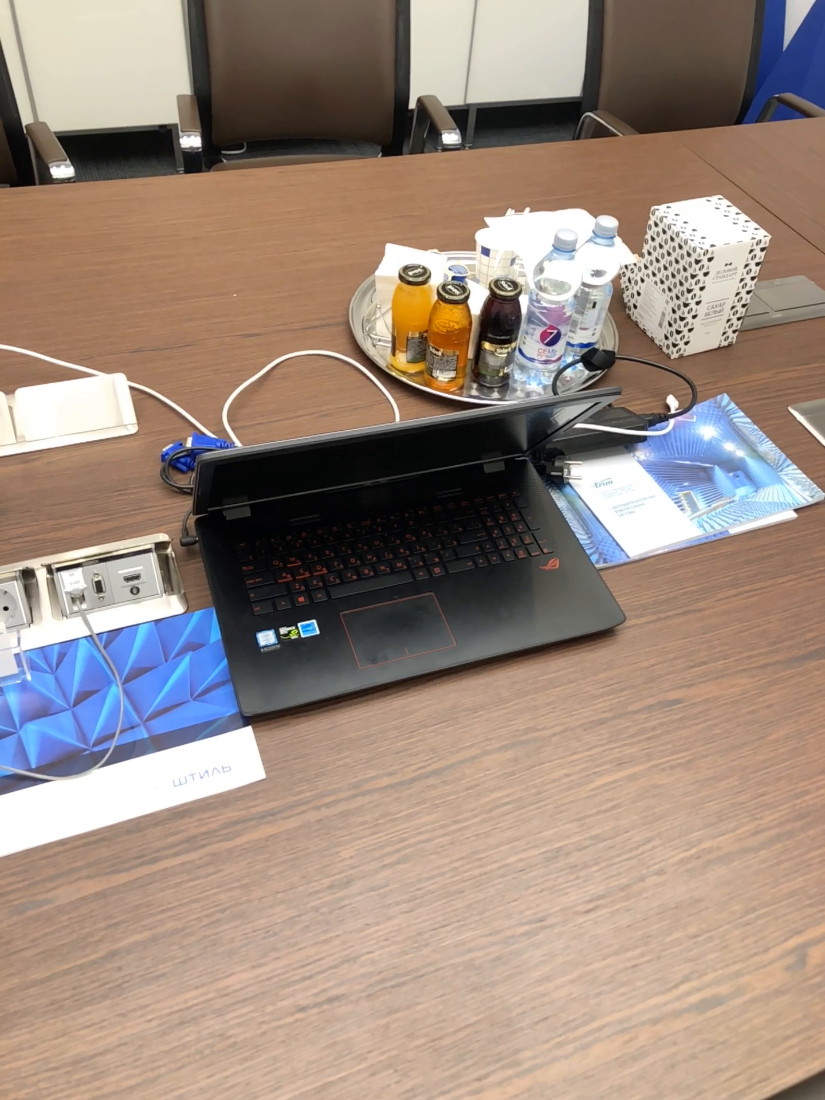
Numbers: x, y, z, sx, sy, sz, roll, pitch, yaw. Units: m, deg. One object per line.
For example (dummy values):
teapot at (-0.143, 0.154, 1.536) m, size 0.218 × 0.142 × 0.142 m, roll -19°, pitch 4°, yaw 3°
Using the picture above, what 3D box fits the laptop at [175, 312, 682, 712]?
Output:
laptop at (0.001, -0.048, 0.840) m, size 0.377 × 0.189 × 0.238 m, roll -11°, pitch 51°, yaw -16°
